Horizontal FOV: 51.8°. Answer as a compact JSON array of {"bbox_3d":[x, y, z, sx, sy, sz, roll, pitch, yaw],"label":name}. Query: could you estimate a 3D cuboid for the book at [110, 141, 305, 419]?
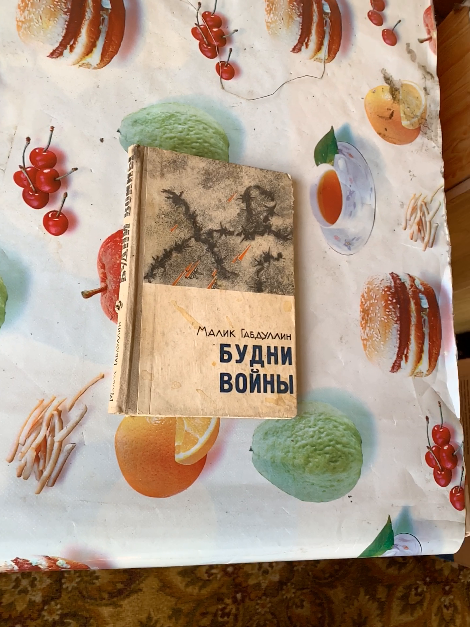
[{"bbox_3d":[-0.015,-0.023,0.361,0.136,0.019,0.196,6,74,-19],"label":"book"}]
